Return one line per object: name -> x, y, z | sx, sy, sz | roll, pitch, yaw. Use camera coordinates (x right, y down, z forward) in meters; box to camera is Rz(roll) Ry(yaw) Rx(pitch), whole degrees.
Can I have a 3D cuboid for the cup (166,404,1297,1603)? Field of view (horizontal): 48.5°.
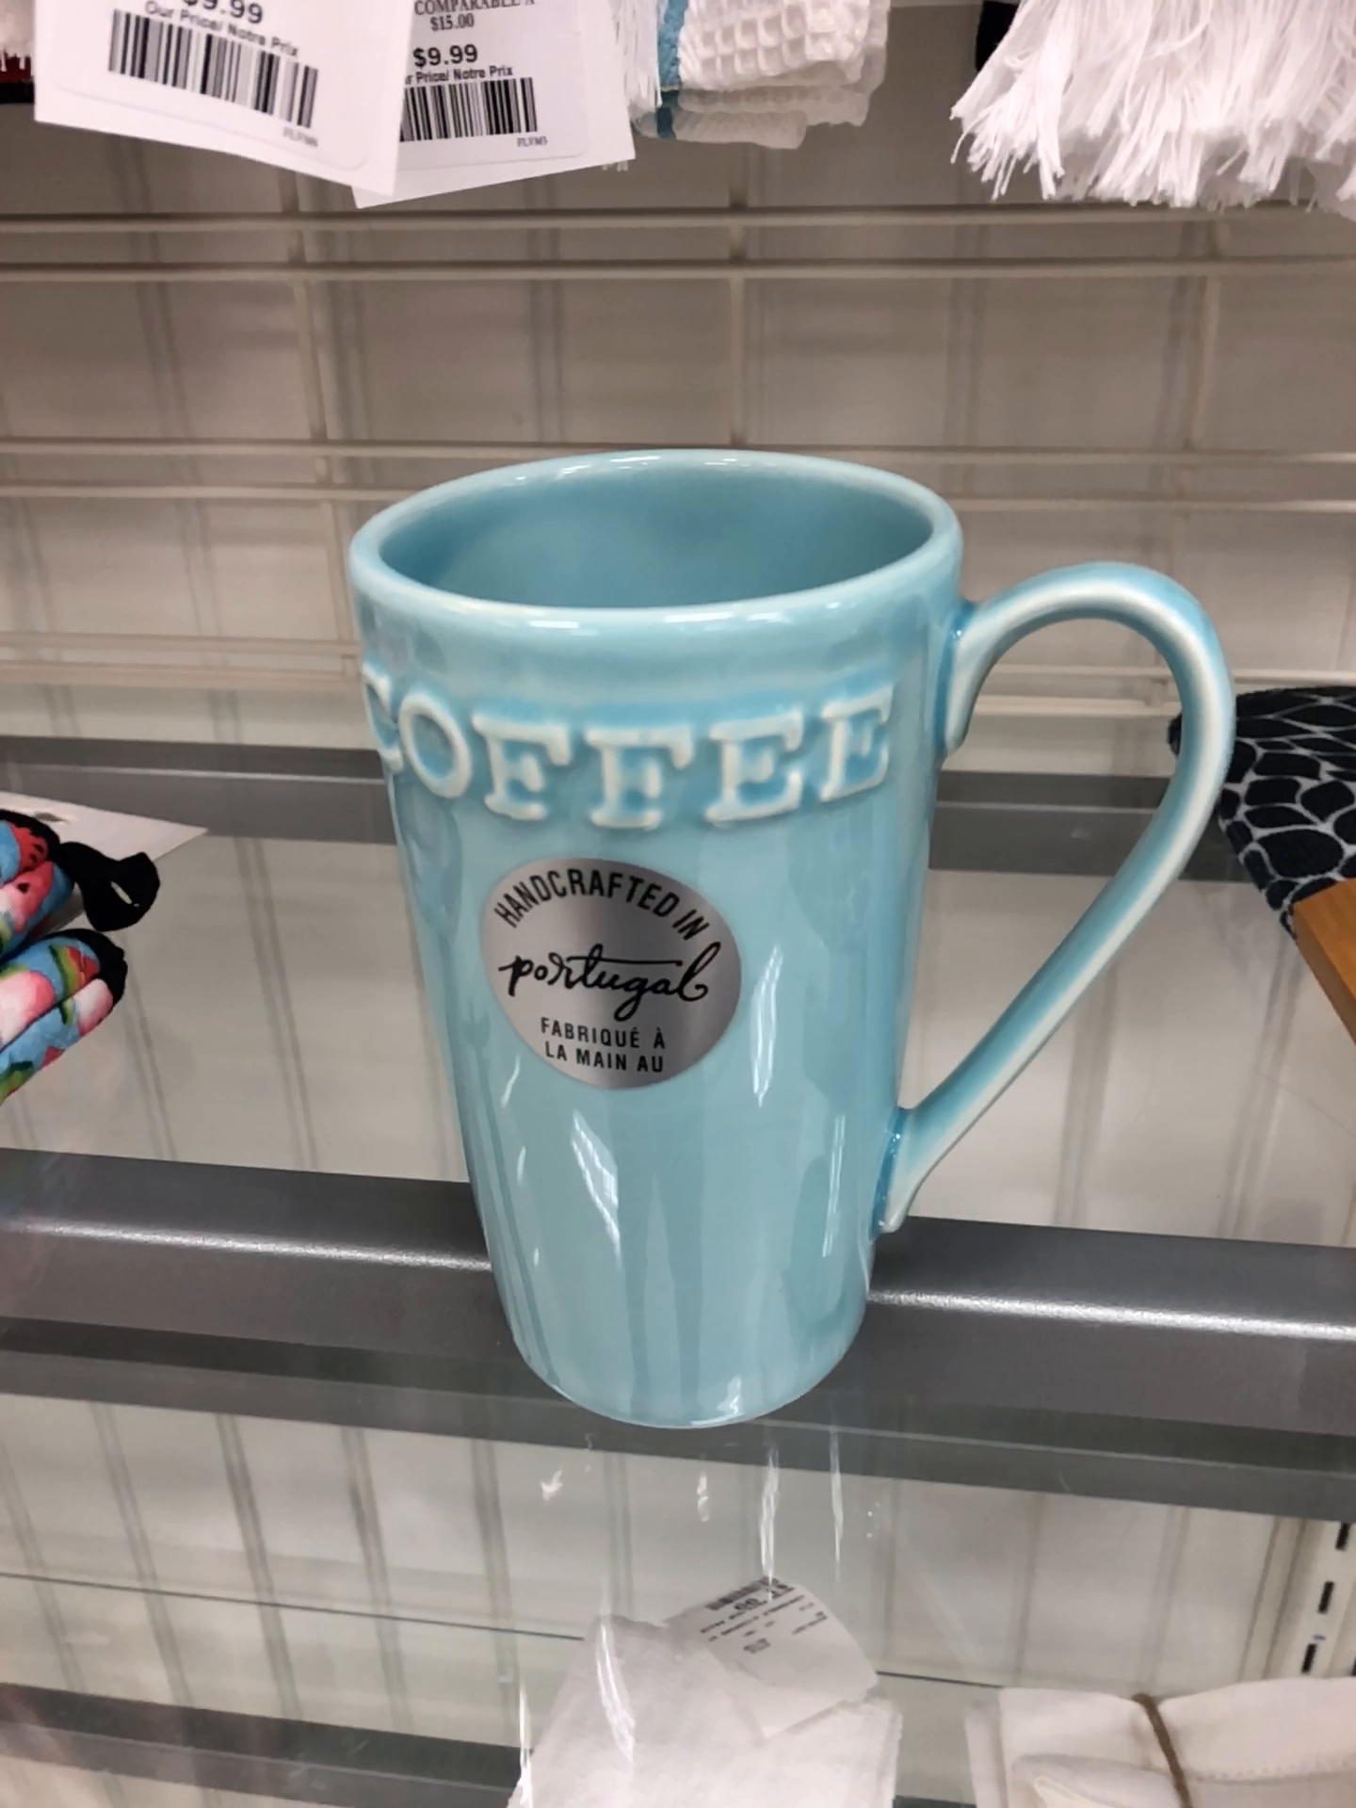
cup -> 0.014, 0.005, 0.236 | 0.130, 0.139, 0.091 | 10, 30, 19
